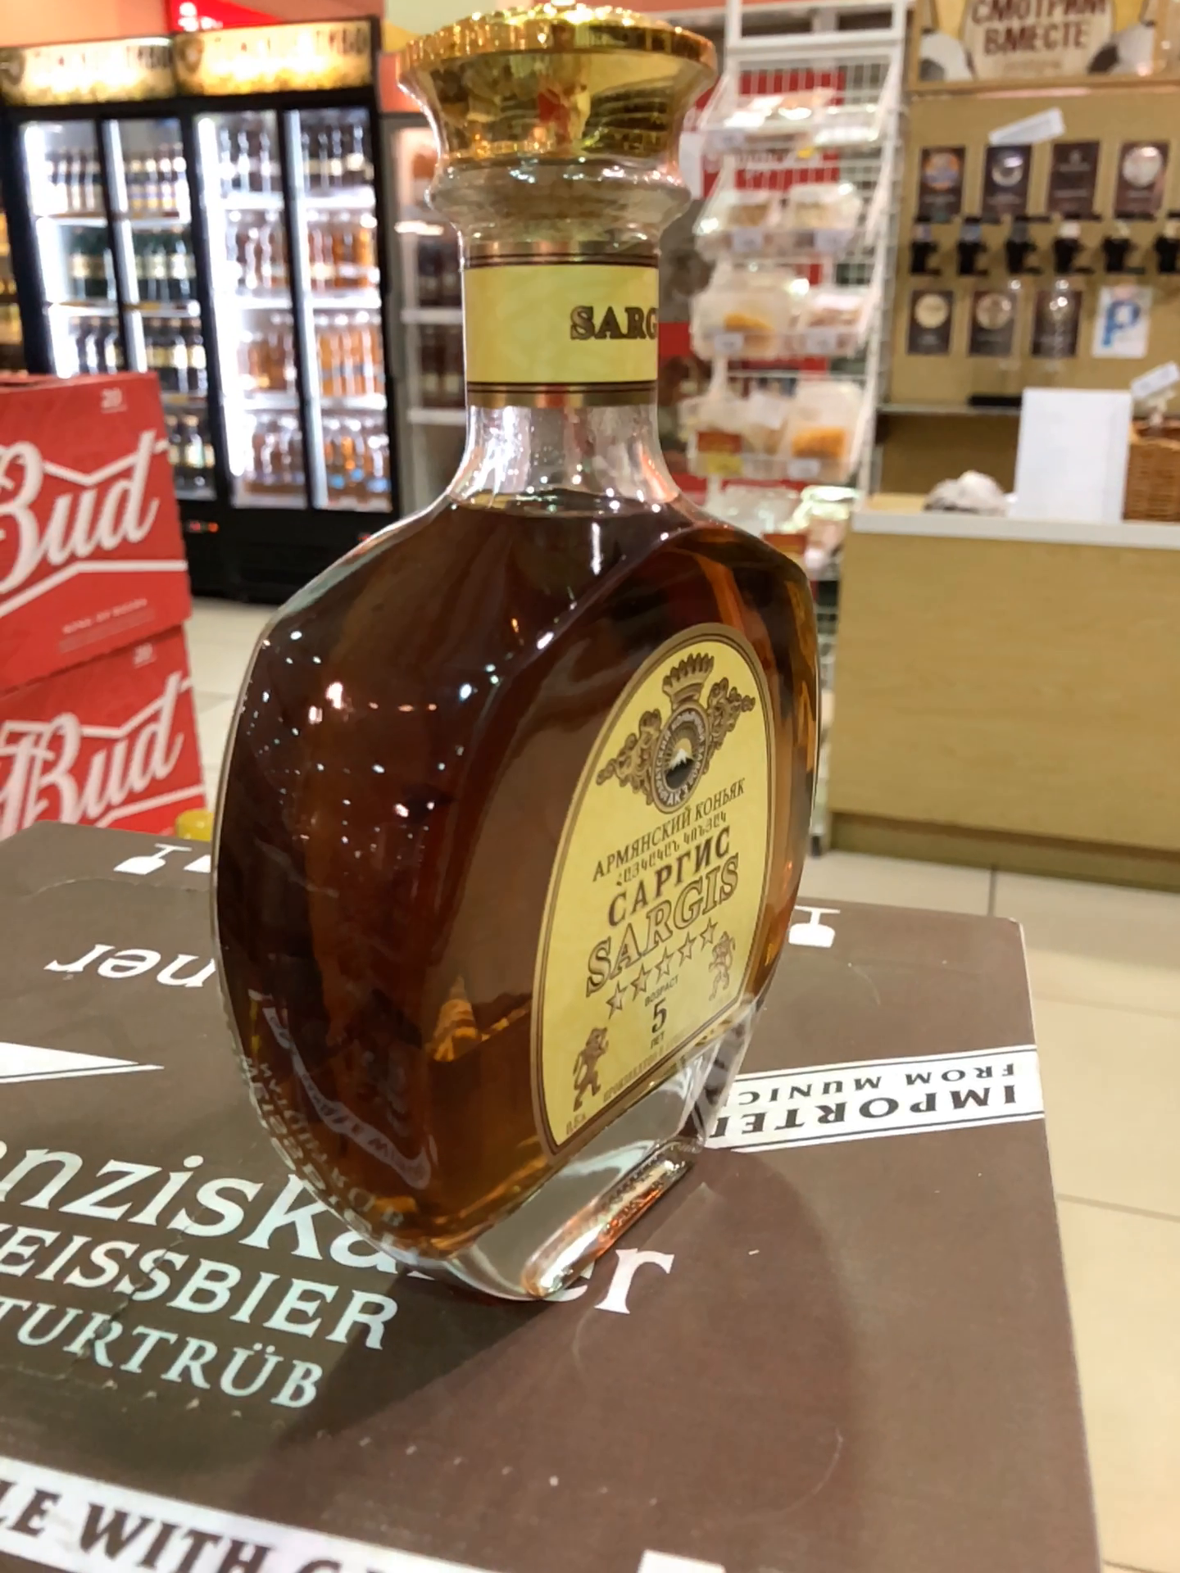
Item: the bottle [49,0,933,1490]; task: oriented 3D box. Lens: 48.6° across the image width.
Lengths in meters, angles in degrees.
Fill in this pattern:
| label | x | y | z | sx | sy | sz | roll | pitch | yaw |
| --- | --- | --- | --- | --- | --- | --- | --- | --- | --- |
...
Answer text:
| label | x | y | z | sx | sy | sz | roll | pitch | yaw |
| --- | --- | --- | --- | --- | --- | --- | --- | --- | --- |
| bottle | -0.003 | -0.016 | 0.242 | 0.070 | 0.209 | 0.141 | 12 | 23 | 30 |
